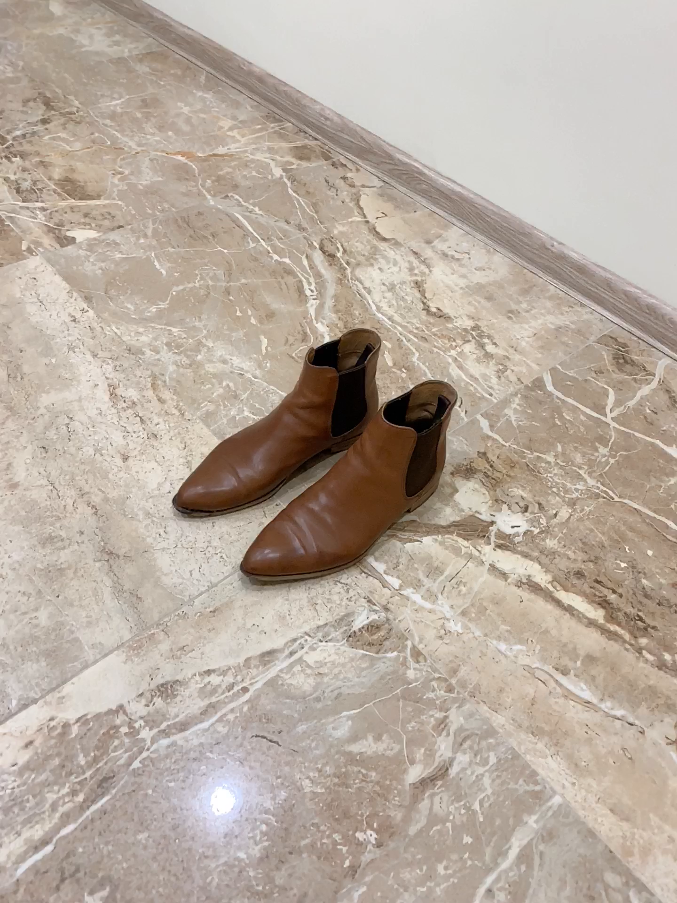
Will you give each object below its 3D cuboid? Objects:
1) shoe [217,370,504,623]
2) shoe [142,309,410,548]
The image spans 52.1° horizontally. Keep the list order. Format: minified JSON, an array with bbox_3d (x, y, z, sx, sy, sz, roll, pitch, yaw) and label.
[{"bbox_3d":[0.021,0.036,0.655,0.250,0.119,0.090,-25,56,-26],"label":"shoe"},{"bbox_3d":[-0.058,-0.029,0.714,0.251,0.129,0.090,-29,57,-28],"label":"shoe"}]
